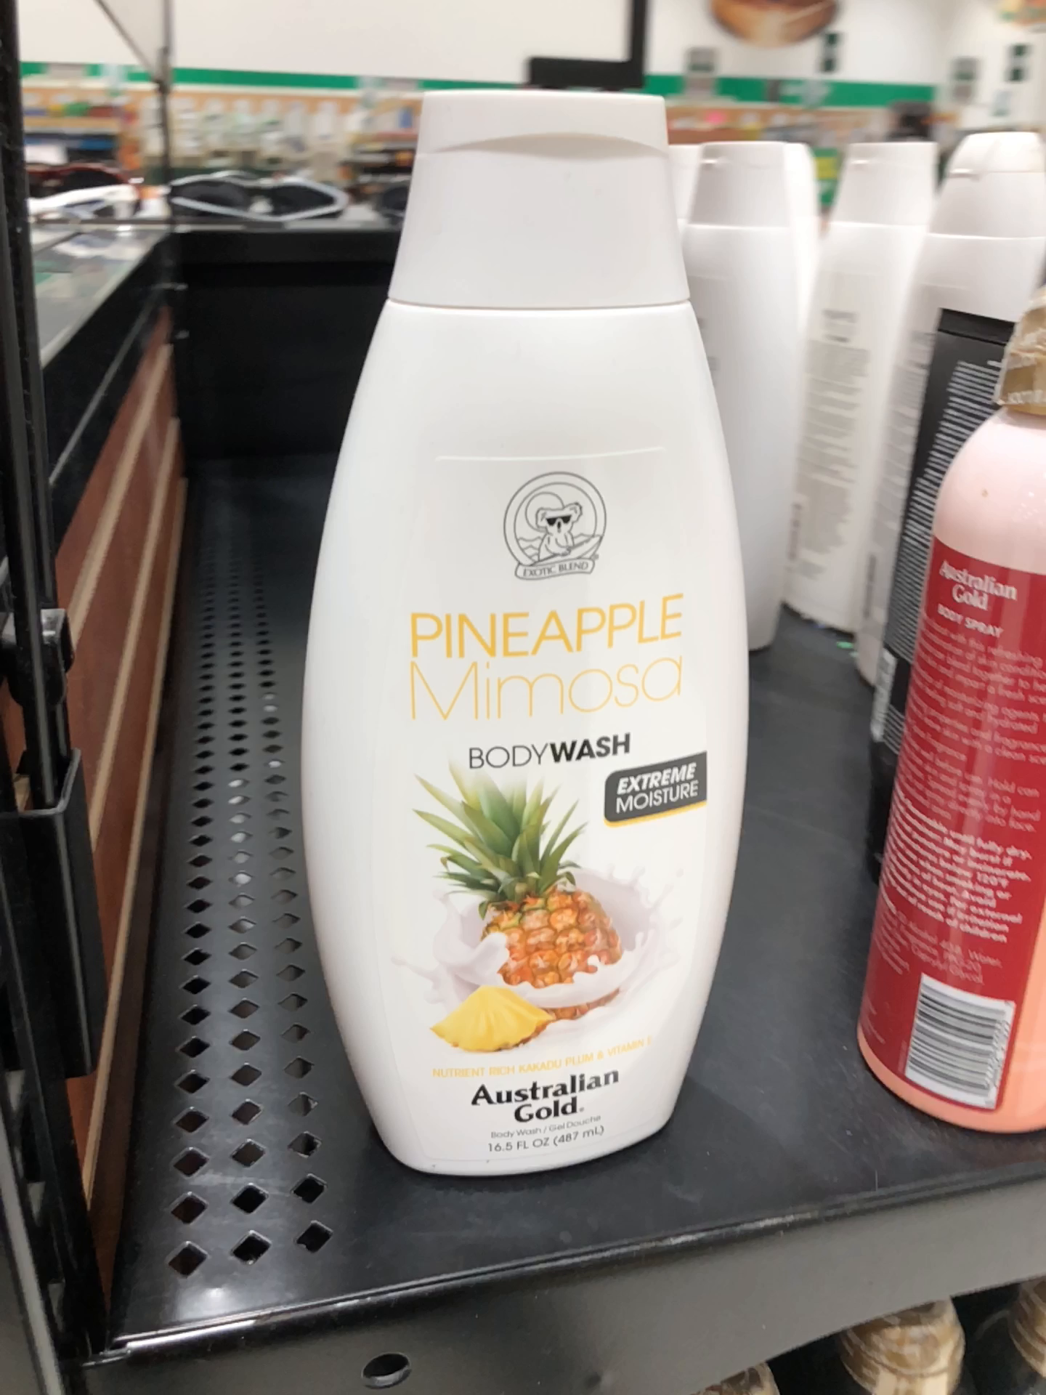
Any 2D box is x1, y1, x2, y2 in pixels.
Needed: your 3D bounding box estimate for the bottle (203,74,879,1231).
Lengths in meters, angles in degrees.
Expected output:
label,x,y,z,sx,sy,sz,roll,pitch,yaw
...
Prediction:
label,x,y,z,sx,sy,sz,roll,pitch,yaw
bottle,-0.002,-0.002,0.238,0.100,0.214,0.060,-5,24,-12
